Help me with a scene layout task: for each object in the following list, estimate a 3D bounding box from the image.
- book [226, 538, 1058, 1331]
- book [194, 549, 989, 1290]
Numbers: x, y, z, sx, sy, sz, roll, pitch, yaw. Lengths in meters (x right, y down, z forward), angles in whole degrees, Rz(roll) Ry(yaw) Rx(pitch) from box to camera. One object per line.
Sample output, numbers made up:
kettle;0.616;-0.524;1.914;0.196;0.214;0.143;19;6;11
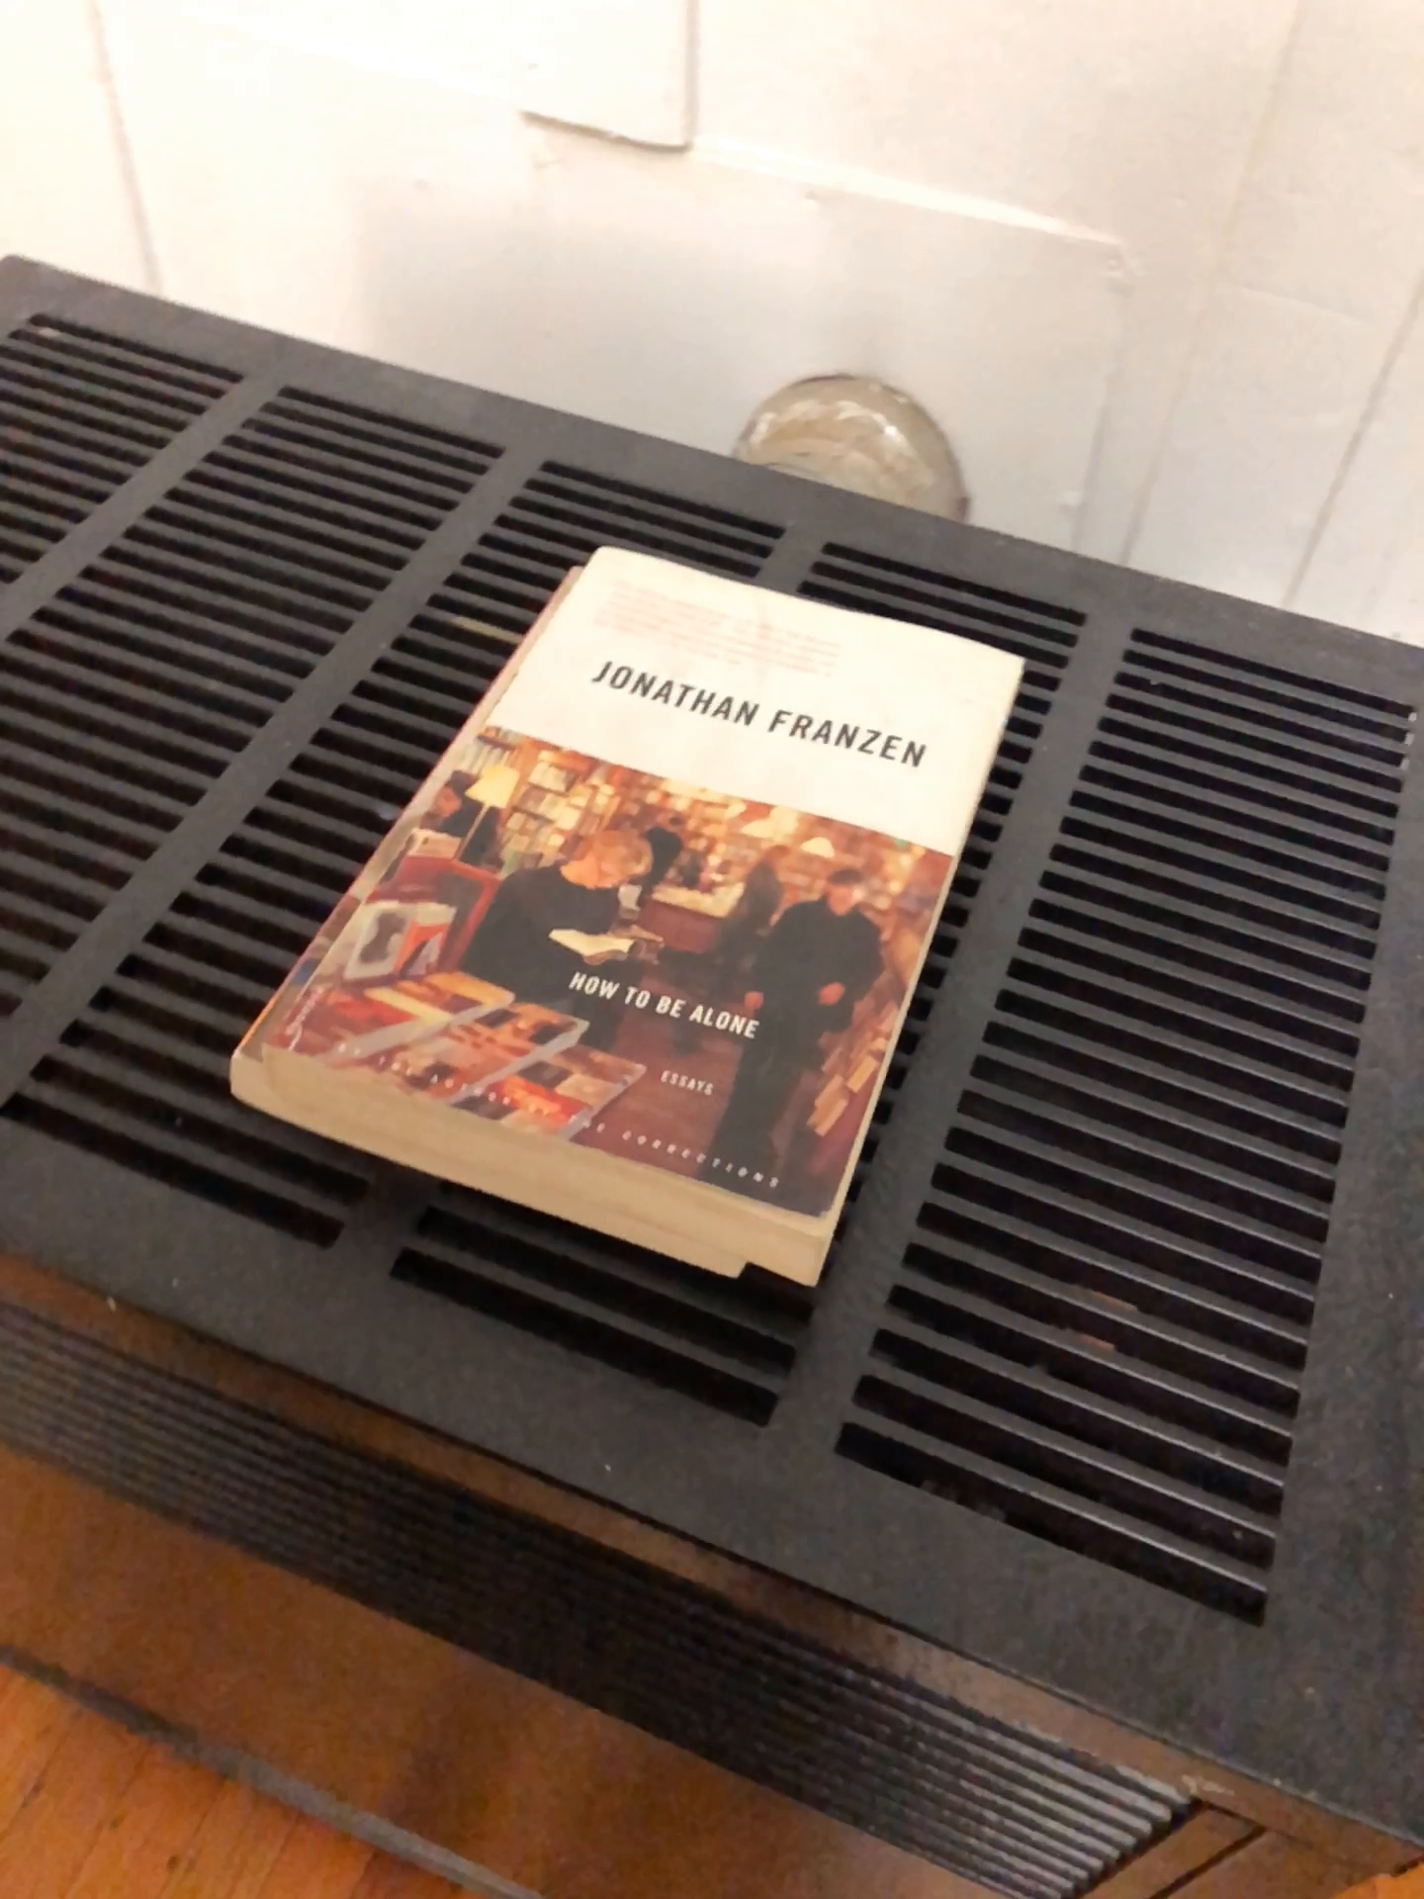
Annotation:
book;-0.005;-0.021;0.414;0.150;0.030;0.211;16;50;9
book;-0.020;-0.024;0.440;0.150;0.030;0.211;16;50;9
